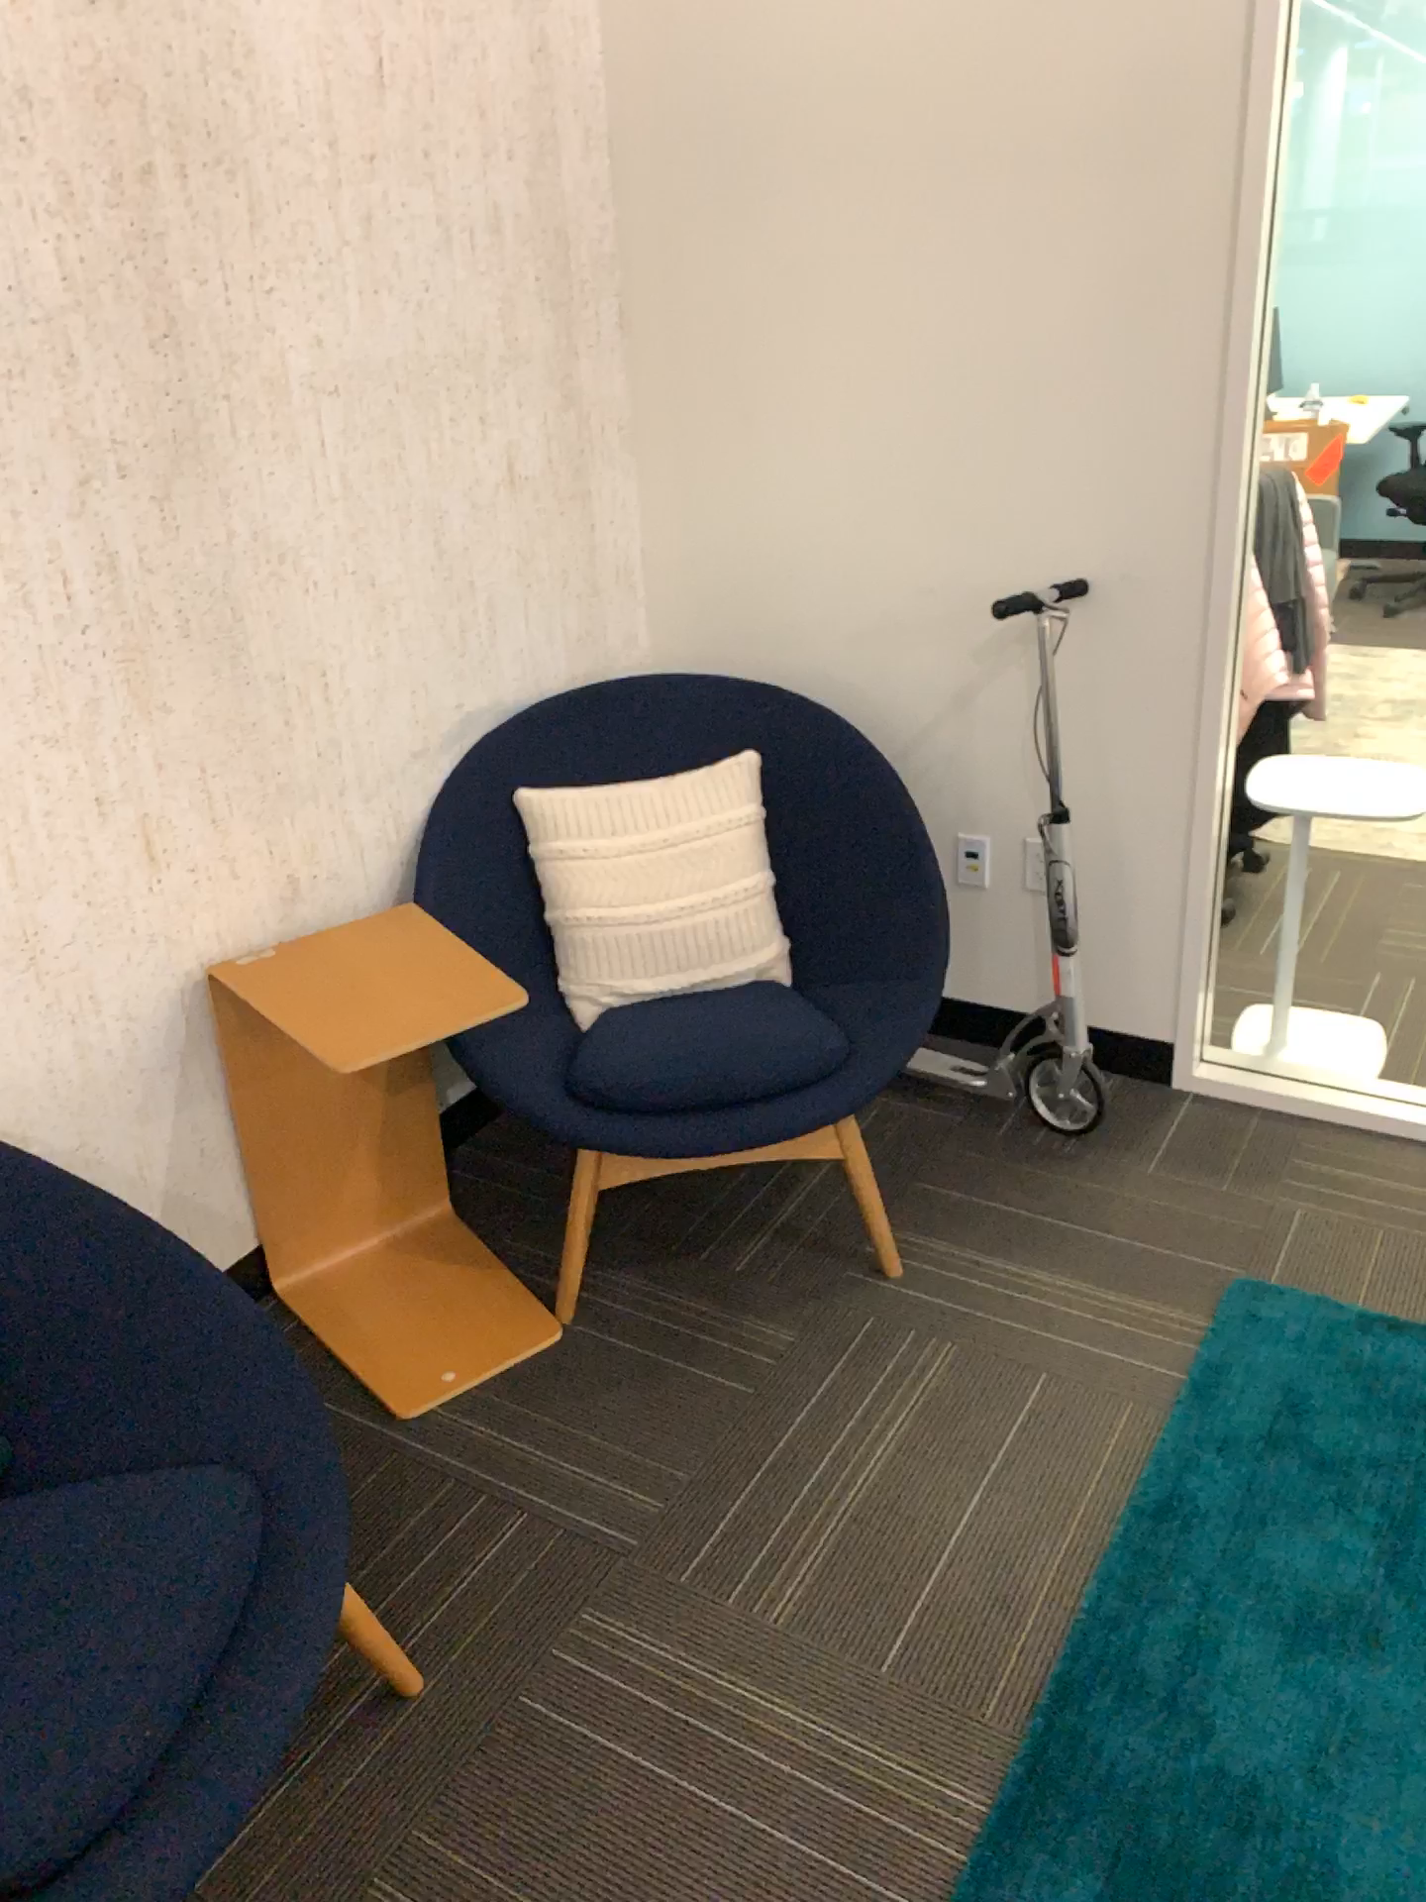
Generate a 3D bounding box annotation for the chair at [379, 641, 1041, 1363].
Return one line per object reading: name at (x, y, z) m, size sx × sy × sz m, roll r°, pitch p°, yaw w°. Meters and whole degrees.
chair at (-0.042, 0.015, 2.490) m, size 0.890 × 0.816 × 0.885 m, roll -7°, pitch 25°, yaw -8°
